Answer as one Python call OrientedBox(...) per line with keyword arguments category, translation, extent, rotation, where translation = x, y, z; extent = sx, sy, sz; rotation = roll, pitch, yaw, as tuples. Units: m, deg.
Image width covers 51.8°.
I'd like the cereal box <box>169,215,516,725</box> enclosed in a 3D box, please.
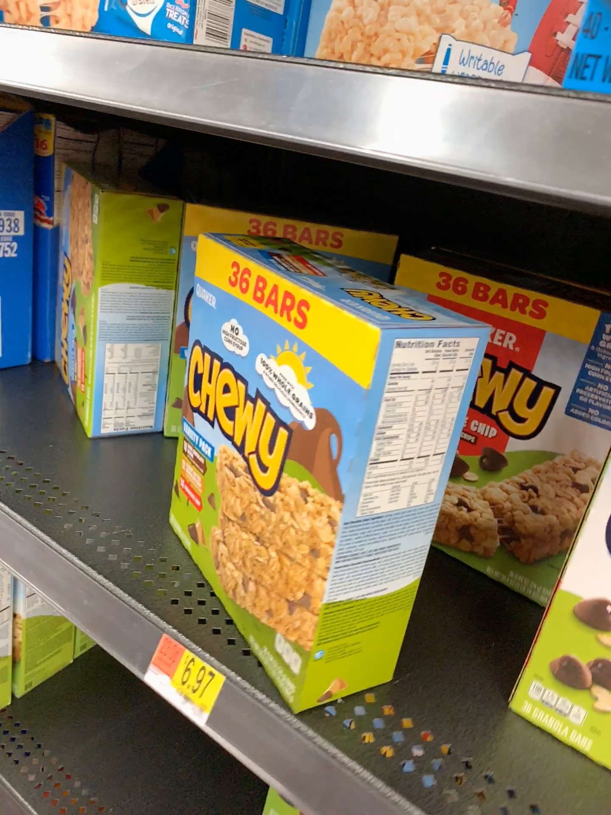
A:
OrientedBox(category="cereal box", translation=(-0.005, 0.022, 0.389), extent=(0.070, 0.229, 0.201), rotation=(-4, 27, -33))
